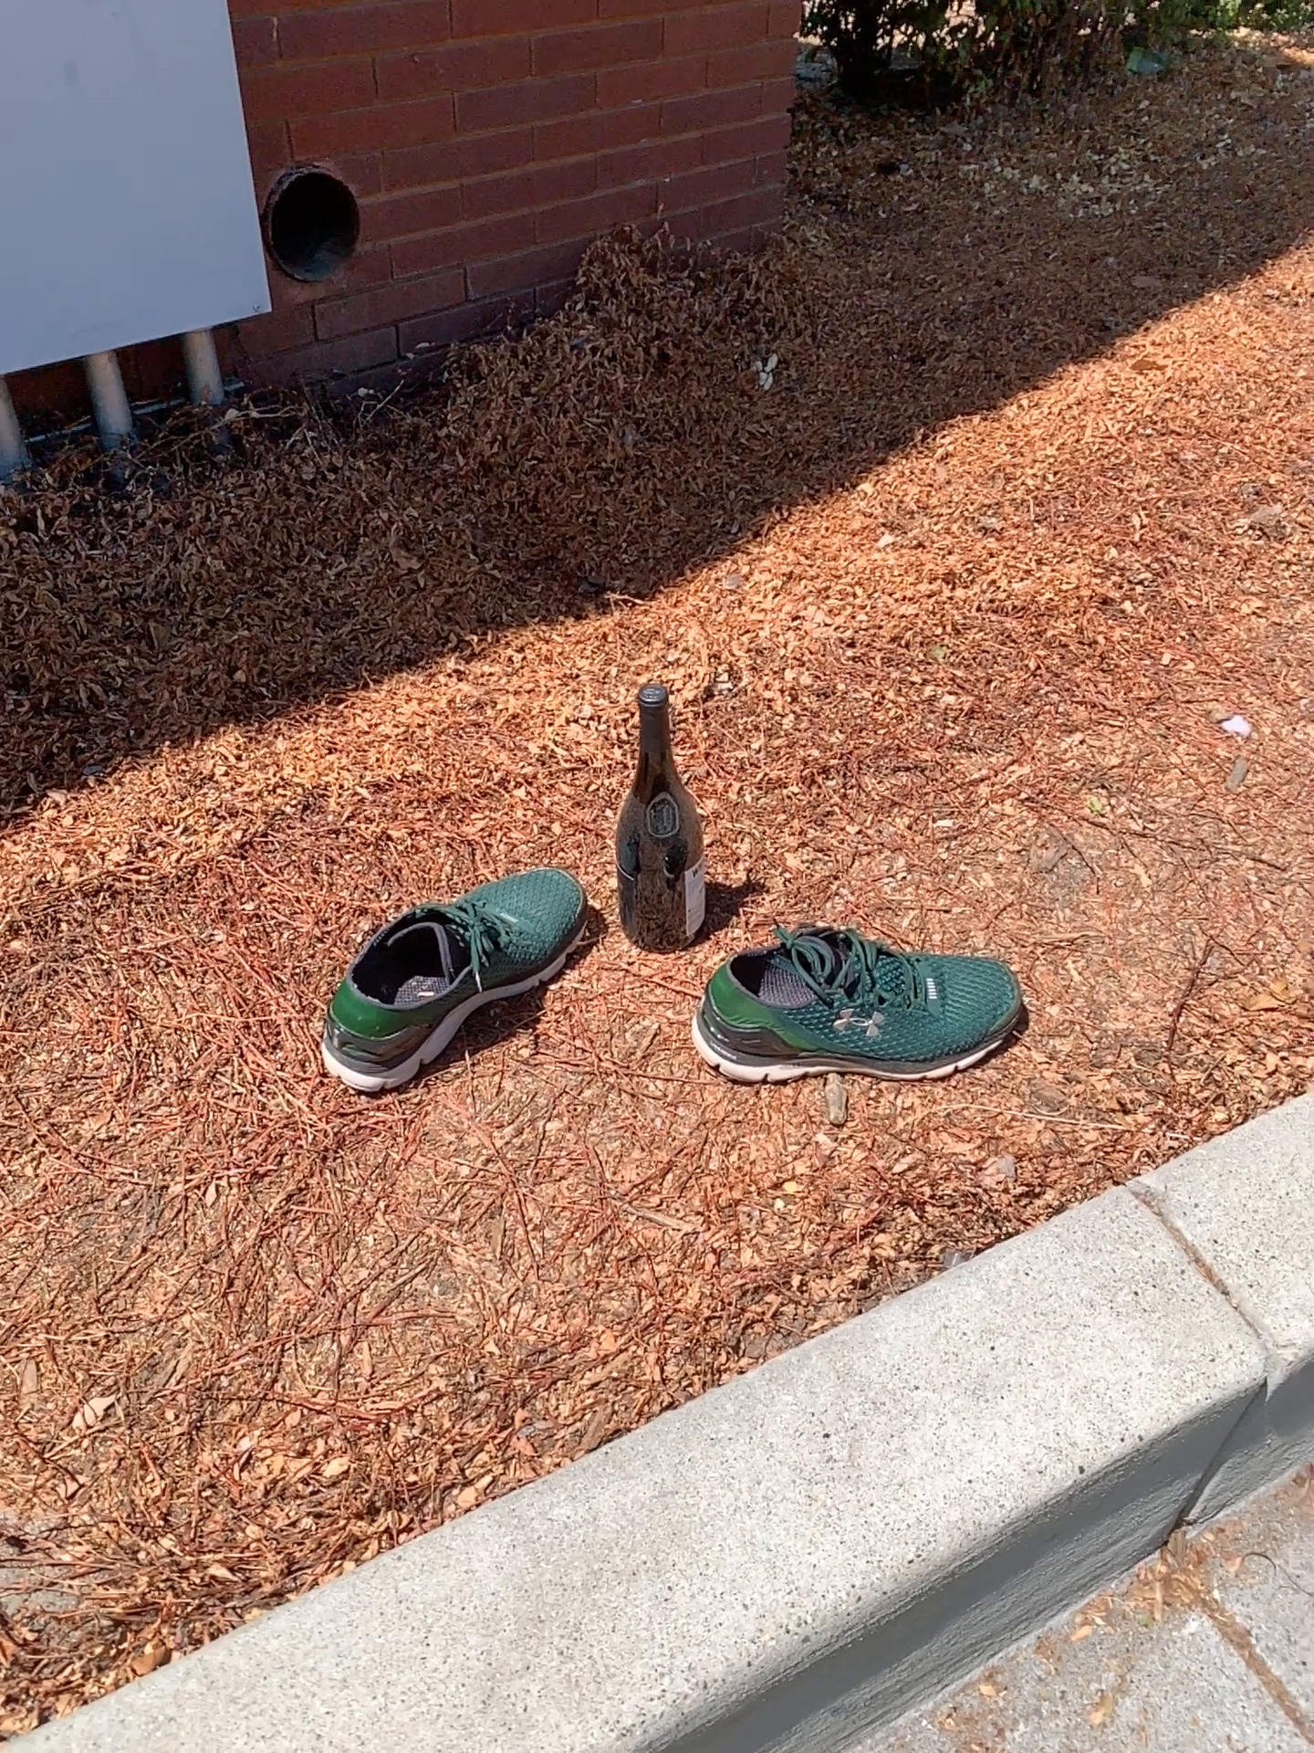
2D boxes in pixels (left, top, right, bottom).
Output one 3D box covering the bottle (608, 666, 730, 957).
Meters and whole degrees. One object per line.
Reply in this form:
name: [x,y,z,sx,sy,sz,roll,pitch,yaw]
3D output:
bottle: [0.008,-0.055,1.238,0.090,0.258,0.091,2,41,-2]
